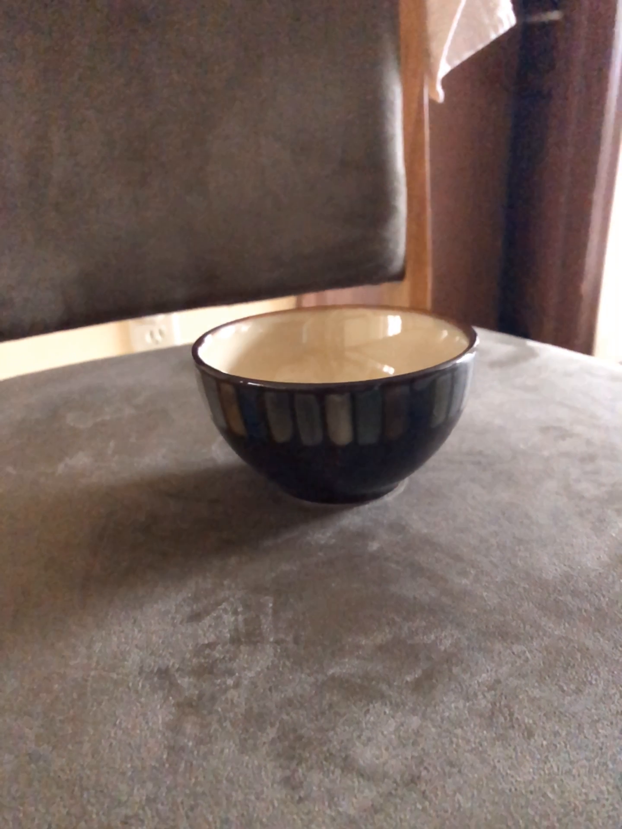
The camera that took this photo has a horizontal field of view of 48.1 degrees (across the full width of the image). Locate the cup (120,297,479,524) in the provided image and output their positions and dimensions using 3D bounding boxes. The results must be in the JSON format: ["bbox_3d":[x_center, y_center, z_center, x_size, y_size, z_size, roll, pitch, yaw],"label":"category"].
[{"bbox_3d":[0.006,-0.010,0.274,0.114,0.044,0.109,-2,23,1],"label":"cup"}]
